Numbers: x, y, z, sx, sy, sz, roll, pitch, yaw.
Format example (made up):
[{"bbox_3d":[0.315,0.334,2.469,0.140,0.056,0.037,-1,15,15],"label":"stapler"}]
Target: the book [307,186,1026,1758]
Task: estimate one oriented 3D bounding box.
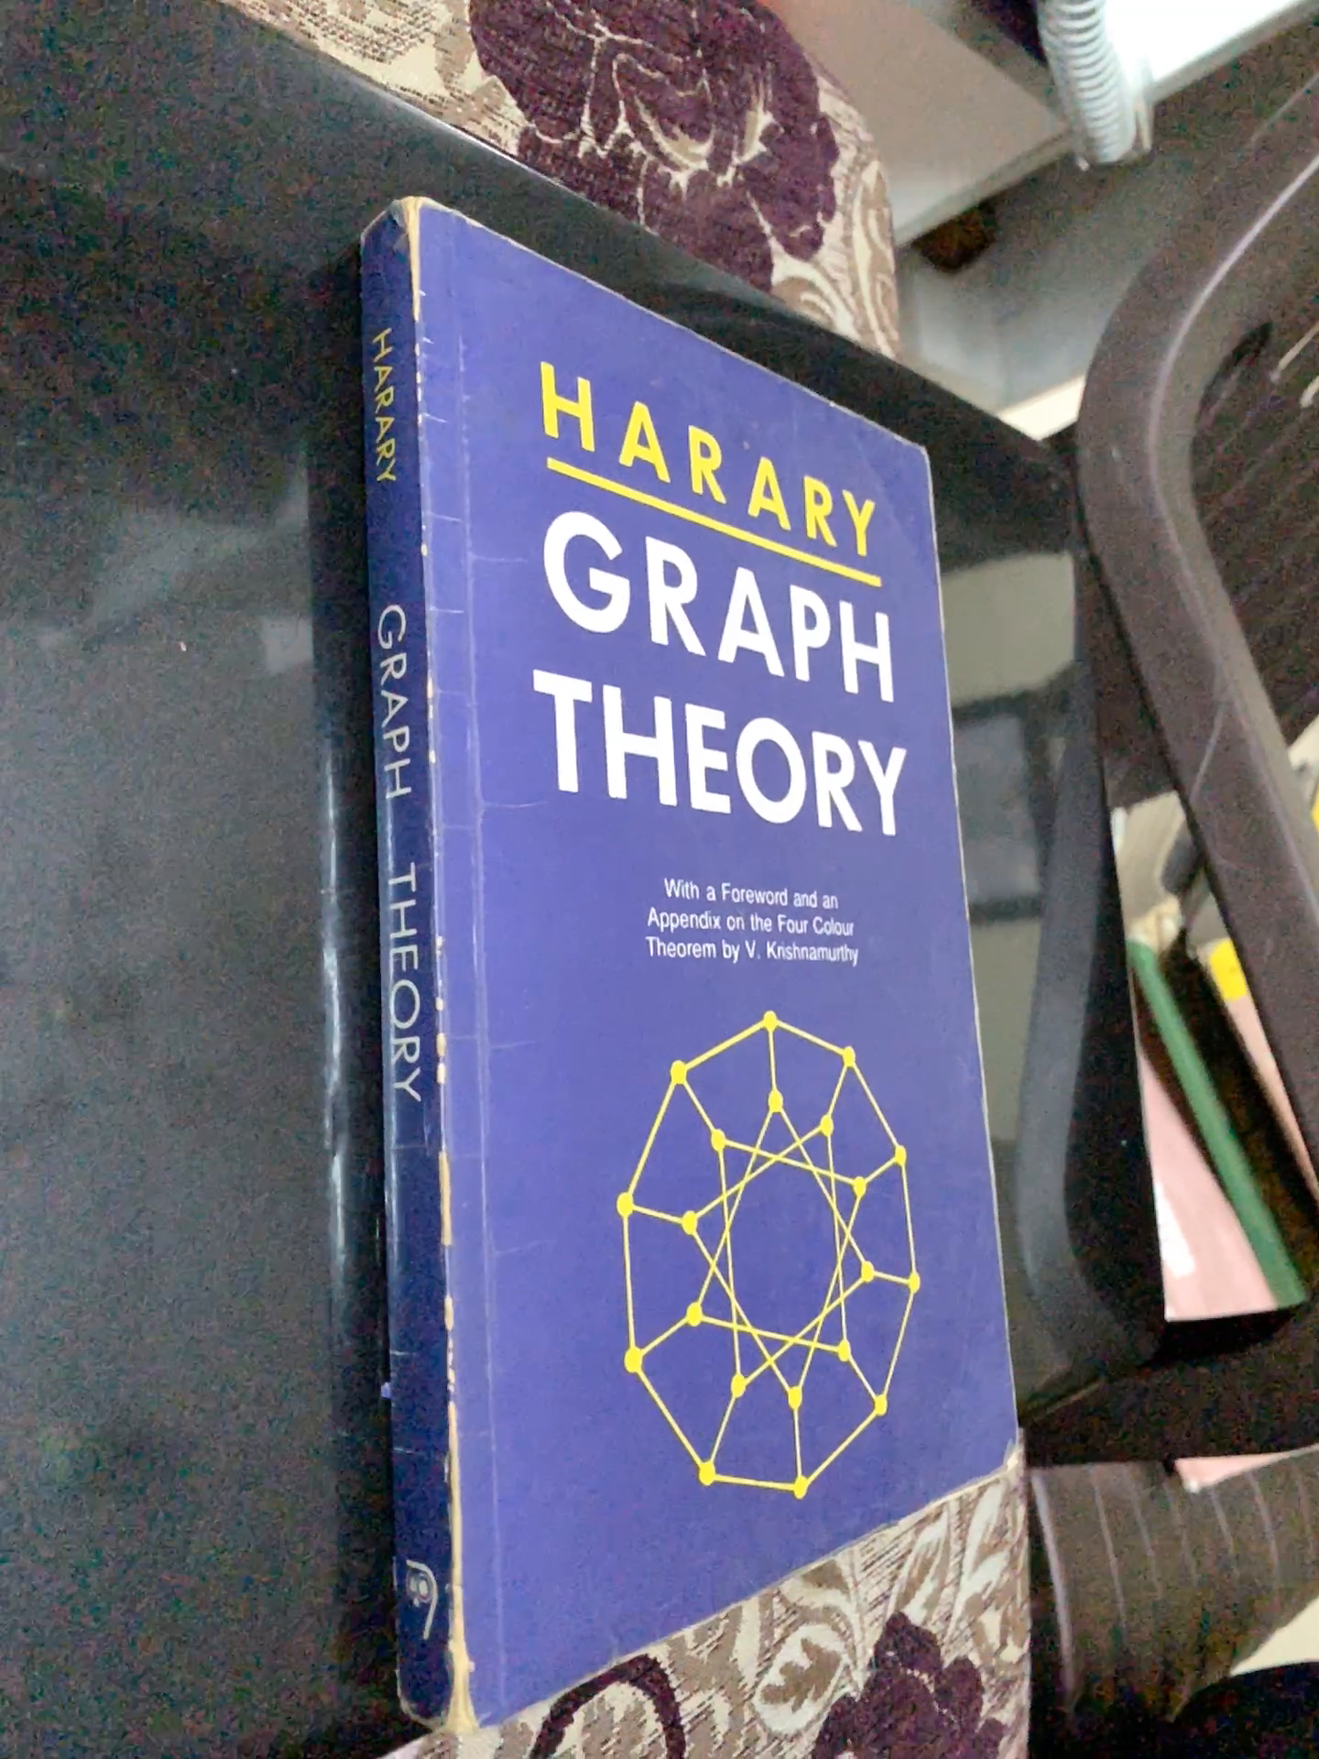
[{"bbox_3d":[0.009,0.009,0.232,0.141,0.020,0.200,5,78,-46],"label":"book"}]
